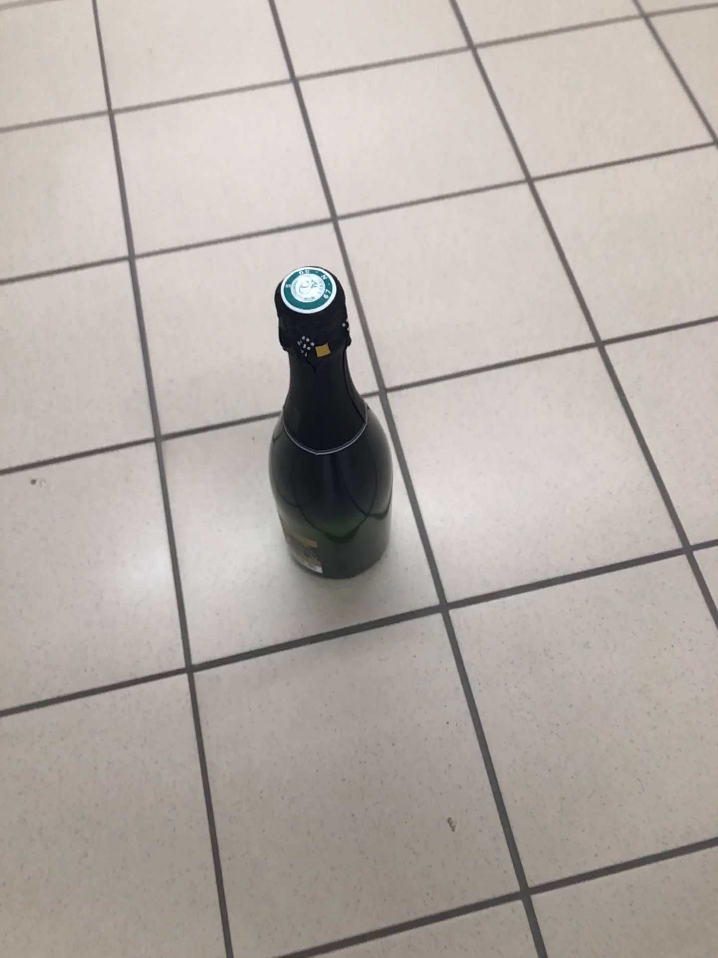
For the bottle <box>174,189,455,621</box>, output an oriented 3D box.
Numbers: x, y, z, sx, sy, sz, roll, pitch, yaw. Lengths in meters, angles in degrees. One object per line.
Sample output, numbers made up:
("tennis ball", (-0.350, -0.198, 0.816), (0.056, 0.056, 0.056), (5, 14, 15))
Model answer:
("bottle", (-0.019, -0.017, 0.501), (0.090, 0.309, 0.100), (-29, 68, -12))
